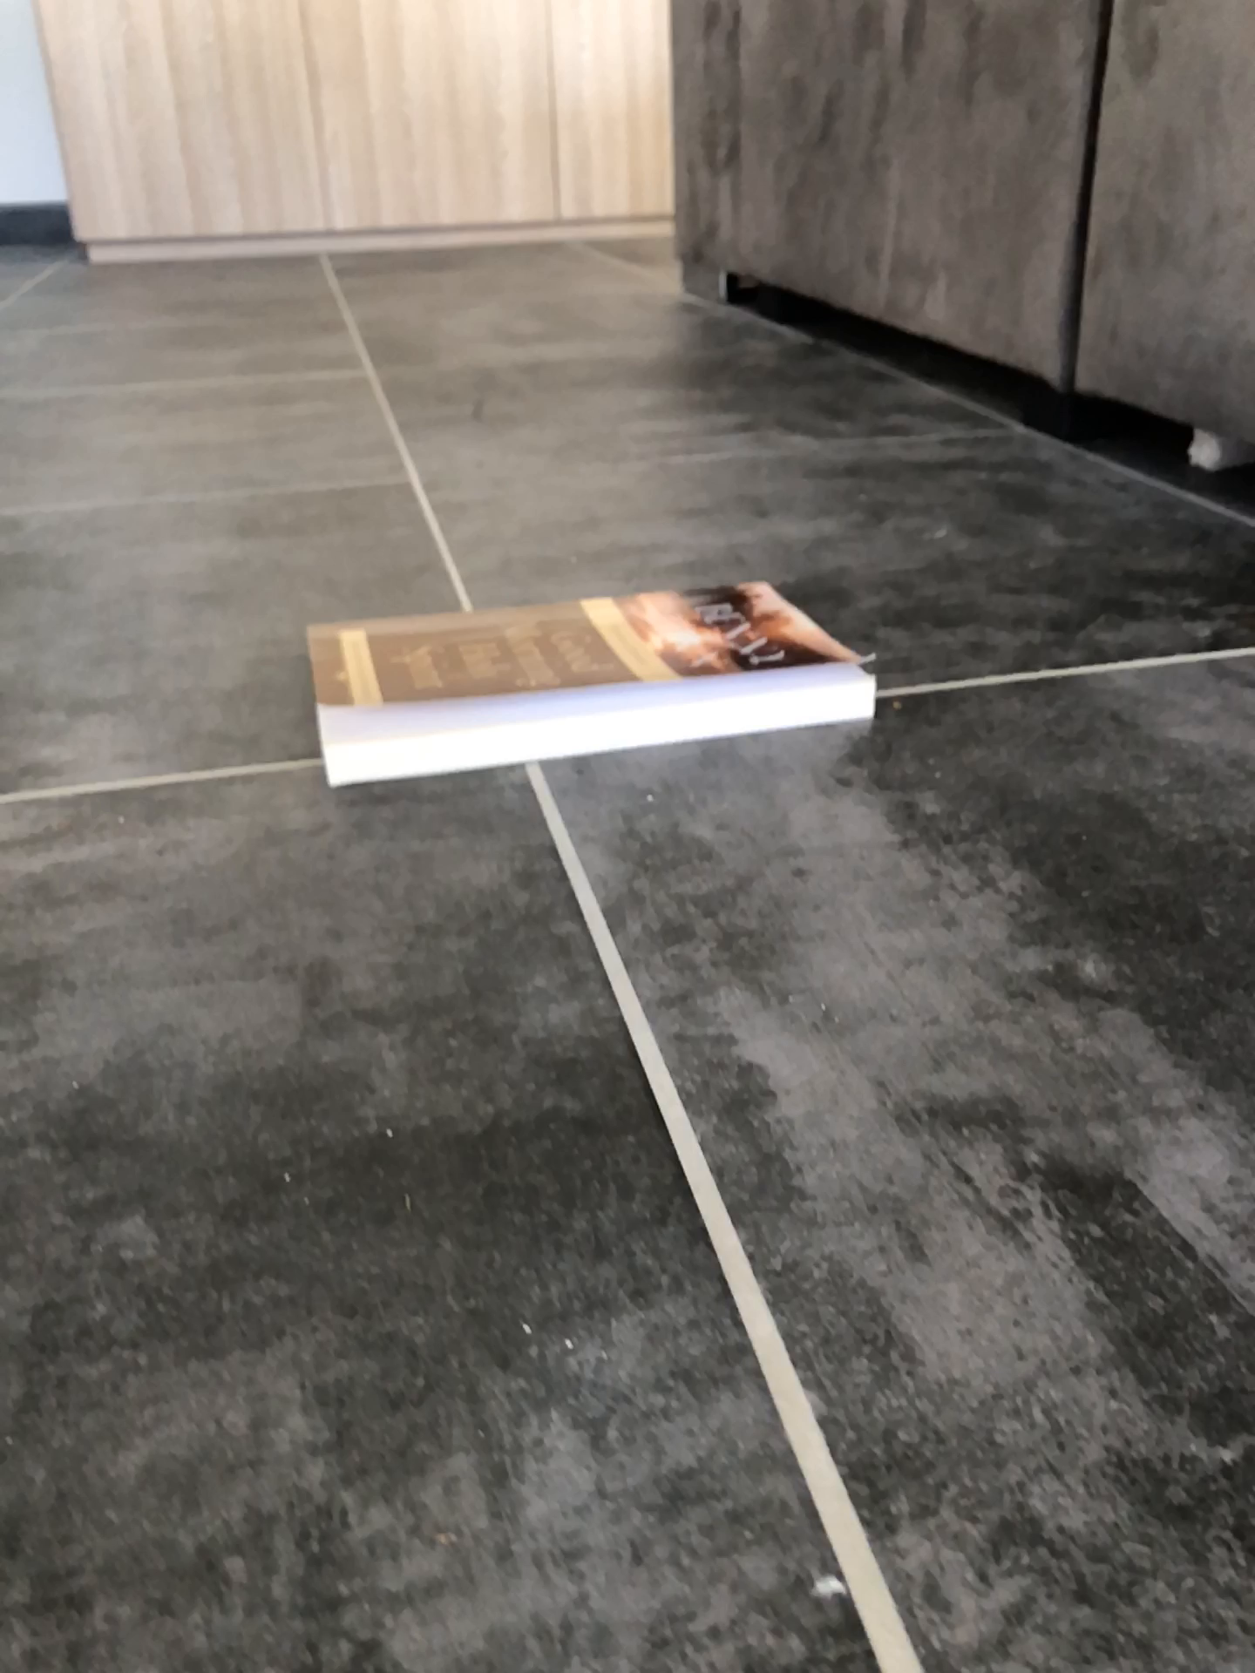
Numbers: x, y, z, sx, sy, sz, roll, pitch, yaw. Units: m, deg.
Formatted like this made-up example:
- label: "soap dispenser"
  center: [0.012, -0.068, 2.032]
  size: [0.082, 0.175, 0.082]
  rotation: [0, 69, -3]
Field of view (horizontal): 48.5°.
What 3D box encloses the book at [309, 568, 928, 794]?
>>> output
- label: "book"
  center: [-0.013, -0.072, 0.585]
  size: [0.230, 0.020, 0.151]
  rotation: [-8, 27, -12]
